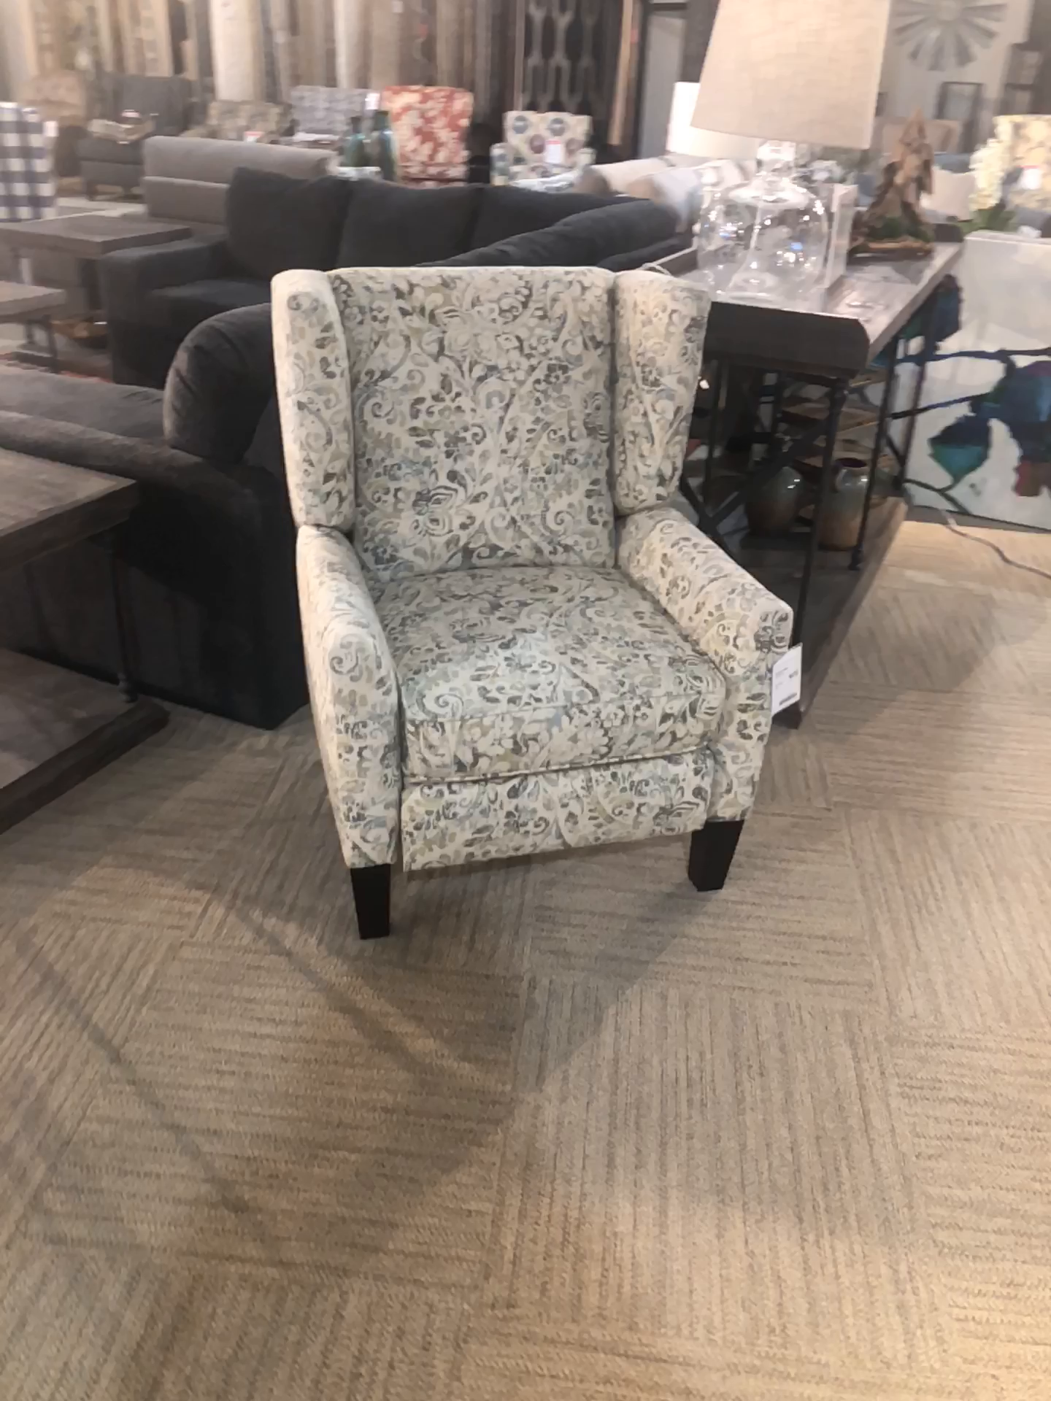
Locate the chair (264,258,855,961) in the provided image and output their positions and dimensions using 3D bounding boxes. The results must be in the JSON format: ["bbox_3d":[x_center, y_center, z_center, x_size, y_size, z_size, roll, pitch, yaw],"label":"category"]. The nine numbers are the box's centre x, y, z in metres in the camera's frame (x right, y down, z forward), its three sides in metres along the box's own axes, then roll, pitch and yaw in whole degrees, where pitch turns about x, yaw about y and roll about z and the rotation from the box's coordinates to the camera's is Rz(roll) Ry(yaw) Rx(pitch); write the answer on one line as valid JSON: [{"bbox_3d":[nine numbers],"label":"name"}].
[{"bbox_3d":[-0.031,-0.220,2.089,0.781,0.975,0.804,-4,30,-12],"label":"chair"}]
